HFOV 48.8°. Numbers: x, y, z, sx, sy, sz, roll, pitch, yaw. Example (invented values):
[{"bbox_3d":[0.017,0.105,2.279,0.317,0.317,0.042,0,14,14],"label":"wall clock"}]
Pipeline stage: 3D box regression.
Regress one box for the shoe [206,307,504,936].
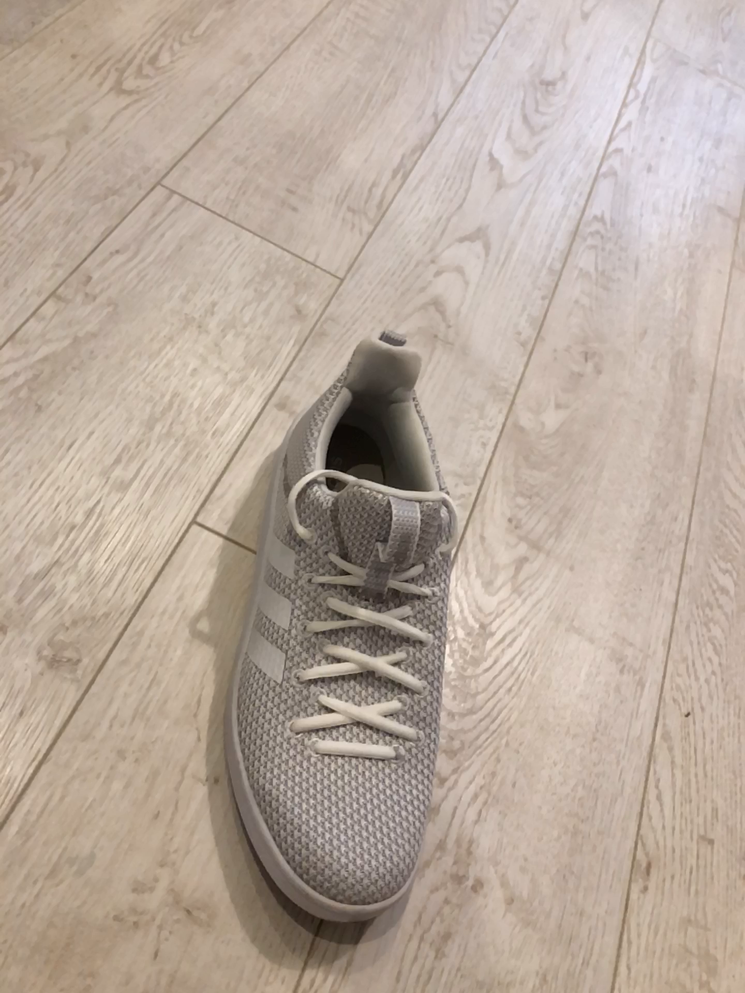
[{"bbox_3d":[-0.017,0.057,0.422,0.100,0.109,0.291,8,58,-15],"label":"shoe"}]
